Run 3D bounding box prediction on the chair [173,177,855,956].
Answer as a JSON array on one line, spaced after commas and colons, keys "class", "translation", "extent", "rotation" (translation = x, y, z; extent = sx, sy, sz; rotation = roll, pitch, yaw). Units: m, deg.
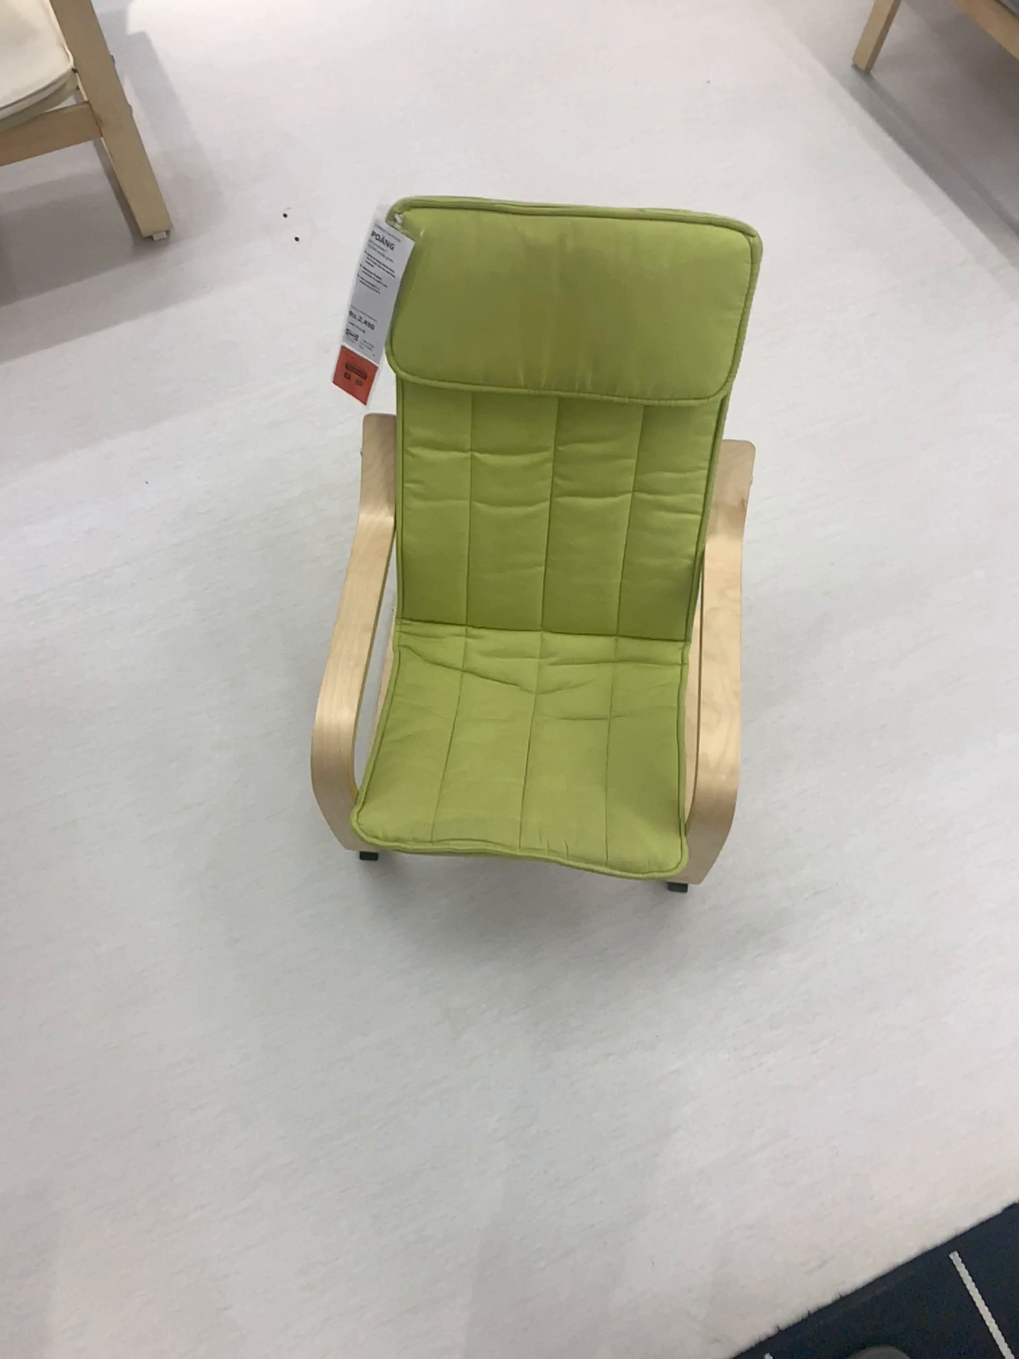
[{"class": "chair", "translation": [0.026, -0.056, 1.283], "extent": [0.520, 0.819, 0.571], "rotation": [4, 63, 3]}]
